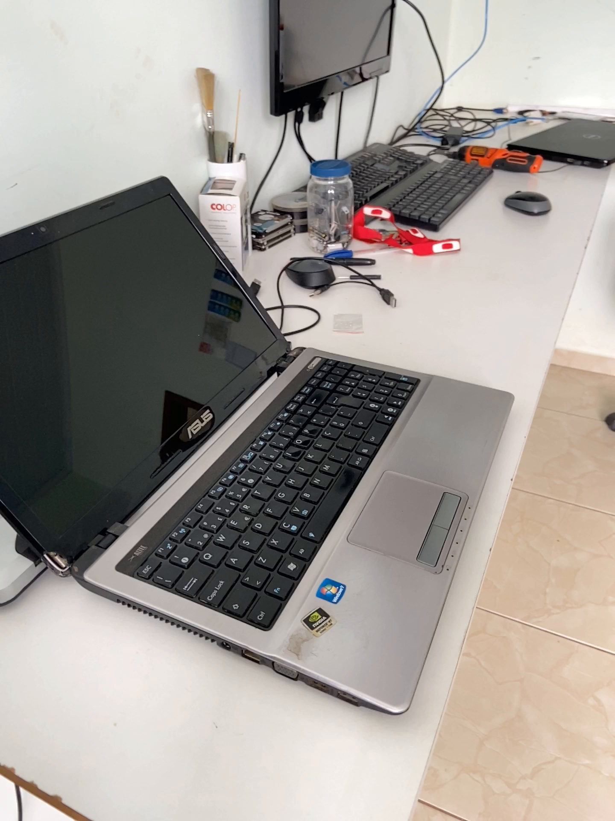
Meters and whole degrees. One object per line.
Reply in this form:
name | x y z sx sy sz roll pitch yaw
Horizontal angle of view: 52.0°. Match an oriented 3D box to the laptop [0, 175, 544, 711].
laptop | -0.059 -0.043 0.532 0.415 0.179 0.378 14 36 21
